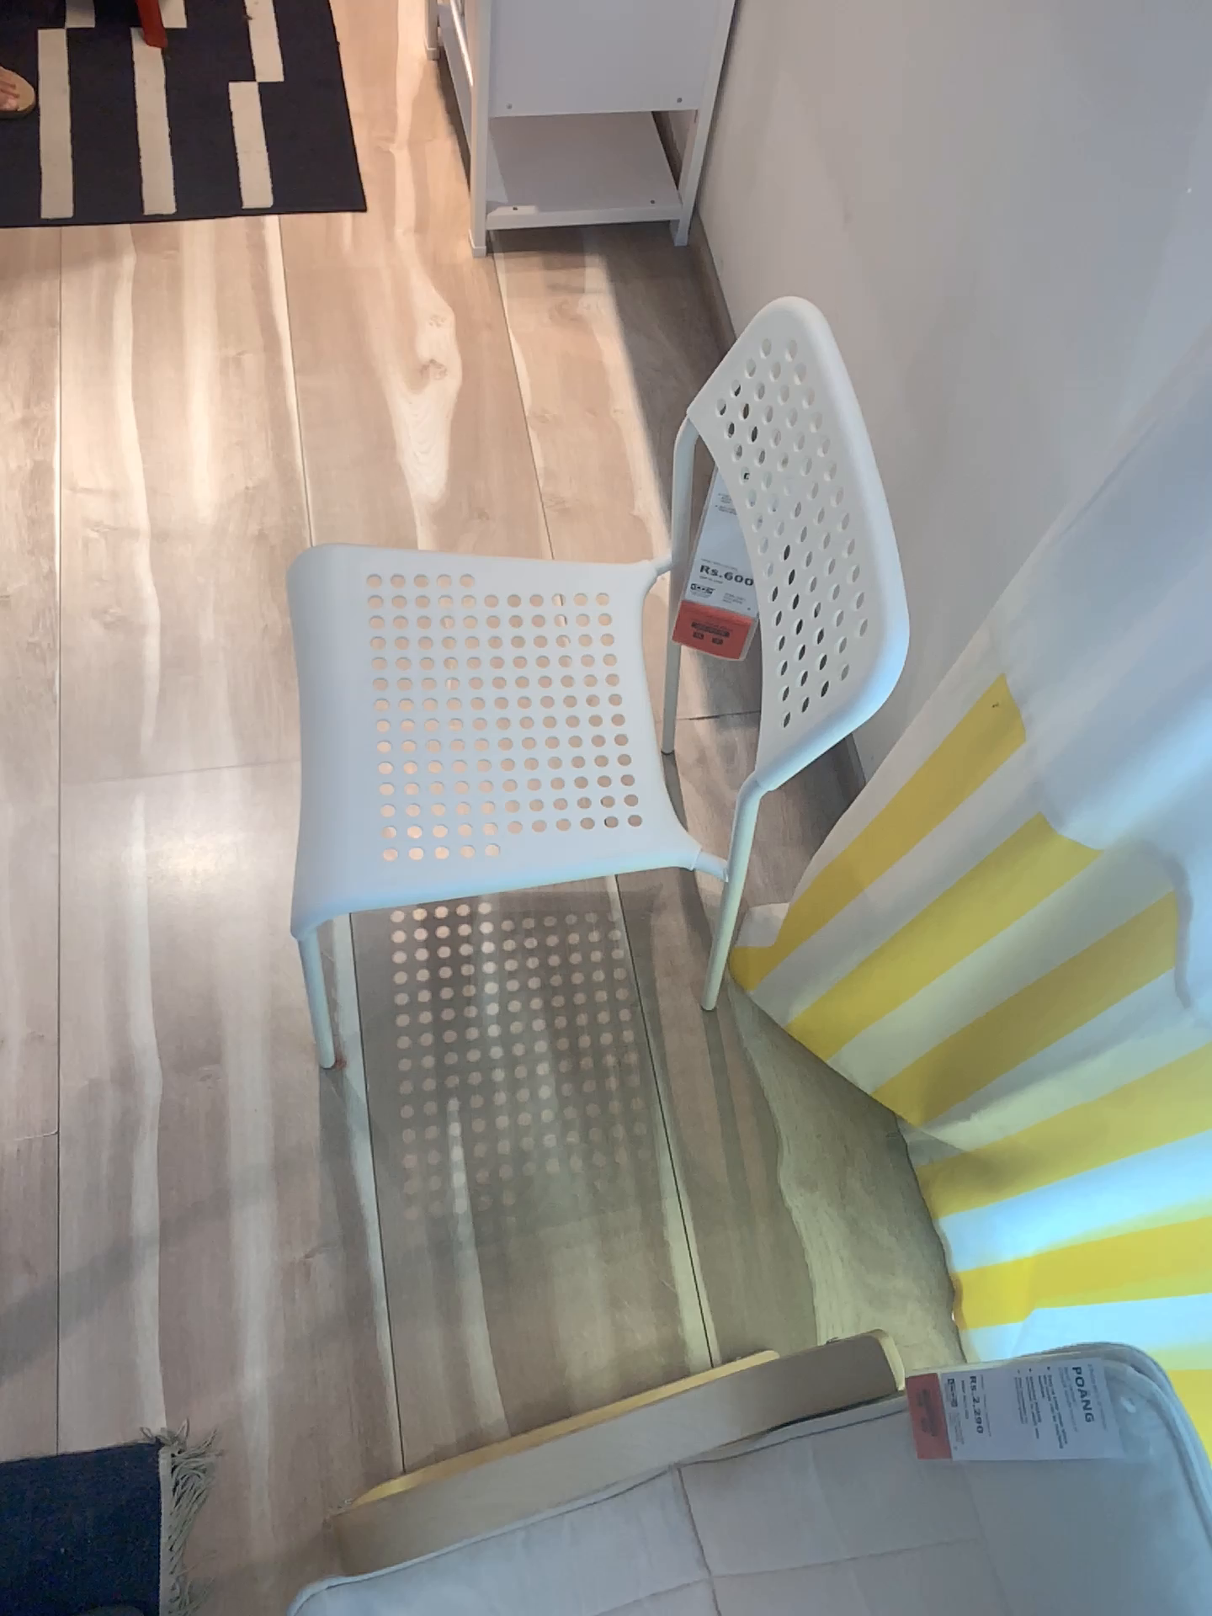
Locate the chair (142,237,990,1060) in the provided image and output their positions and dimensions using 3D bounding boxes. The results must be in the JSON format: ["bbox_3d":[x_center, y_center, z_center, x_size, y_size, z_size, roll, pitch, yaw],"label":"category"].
[{"bbox_3d":[-0.077,-0.096,1.151,0.530,0.659,0.440,-5,65,-9],"label":"chair"}]
